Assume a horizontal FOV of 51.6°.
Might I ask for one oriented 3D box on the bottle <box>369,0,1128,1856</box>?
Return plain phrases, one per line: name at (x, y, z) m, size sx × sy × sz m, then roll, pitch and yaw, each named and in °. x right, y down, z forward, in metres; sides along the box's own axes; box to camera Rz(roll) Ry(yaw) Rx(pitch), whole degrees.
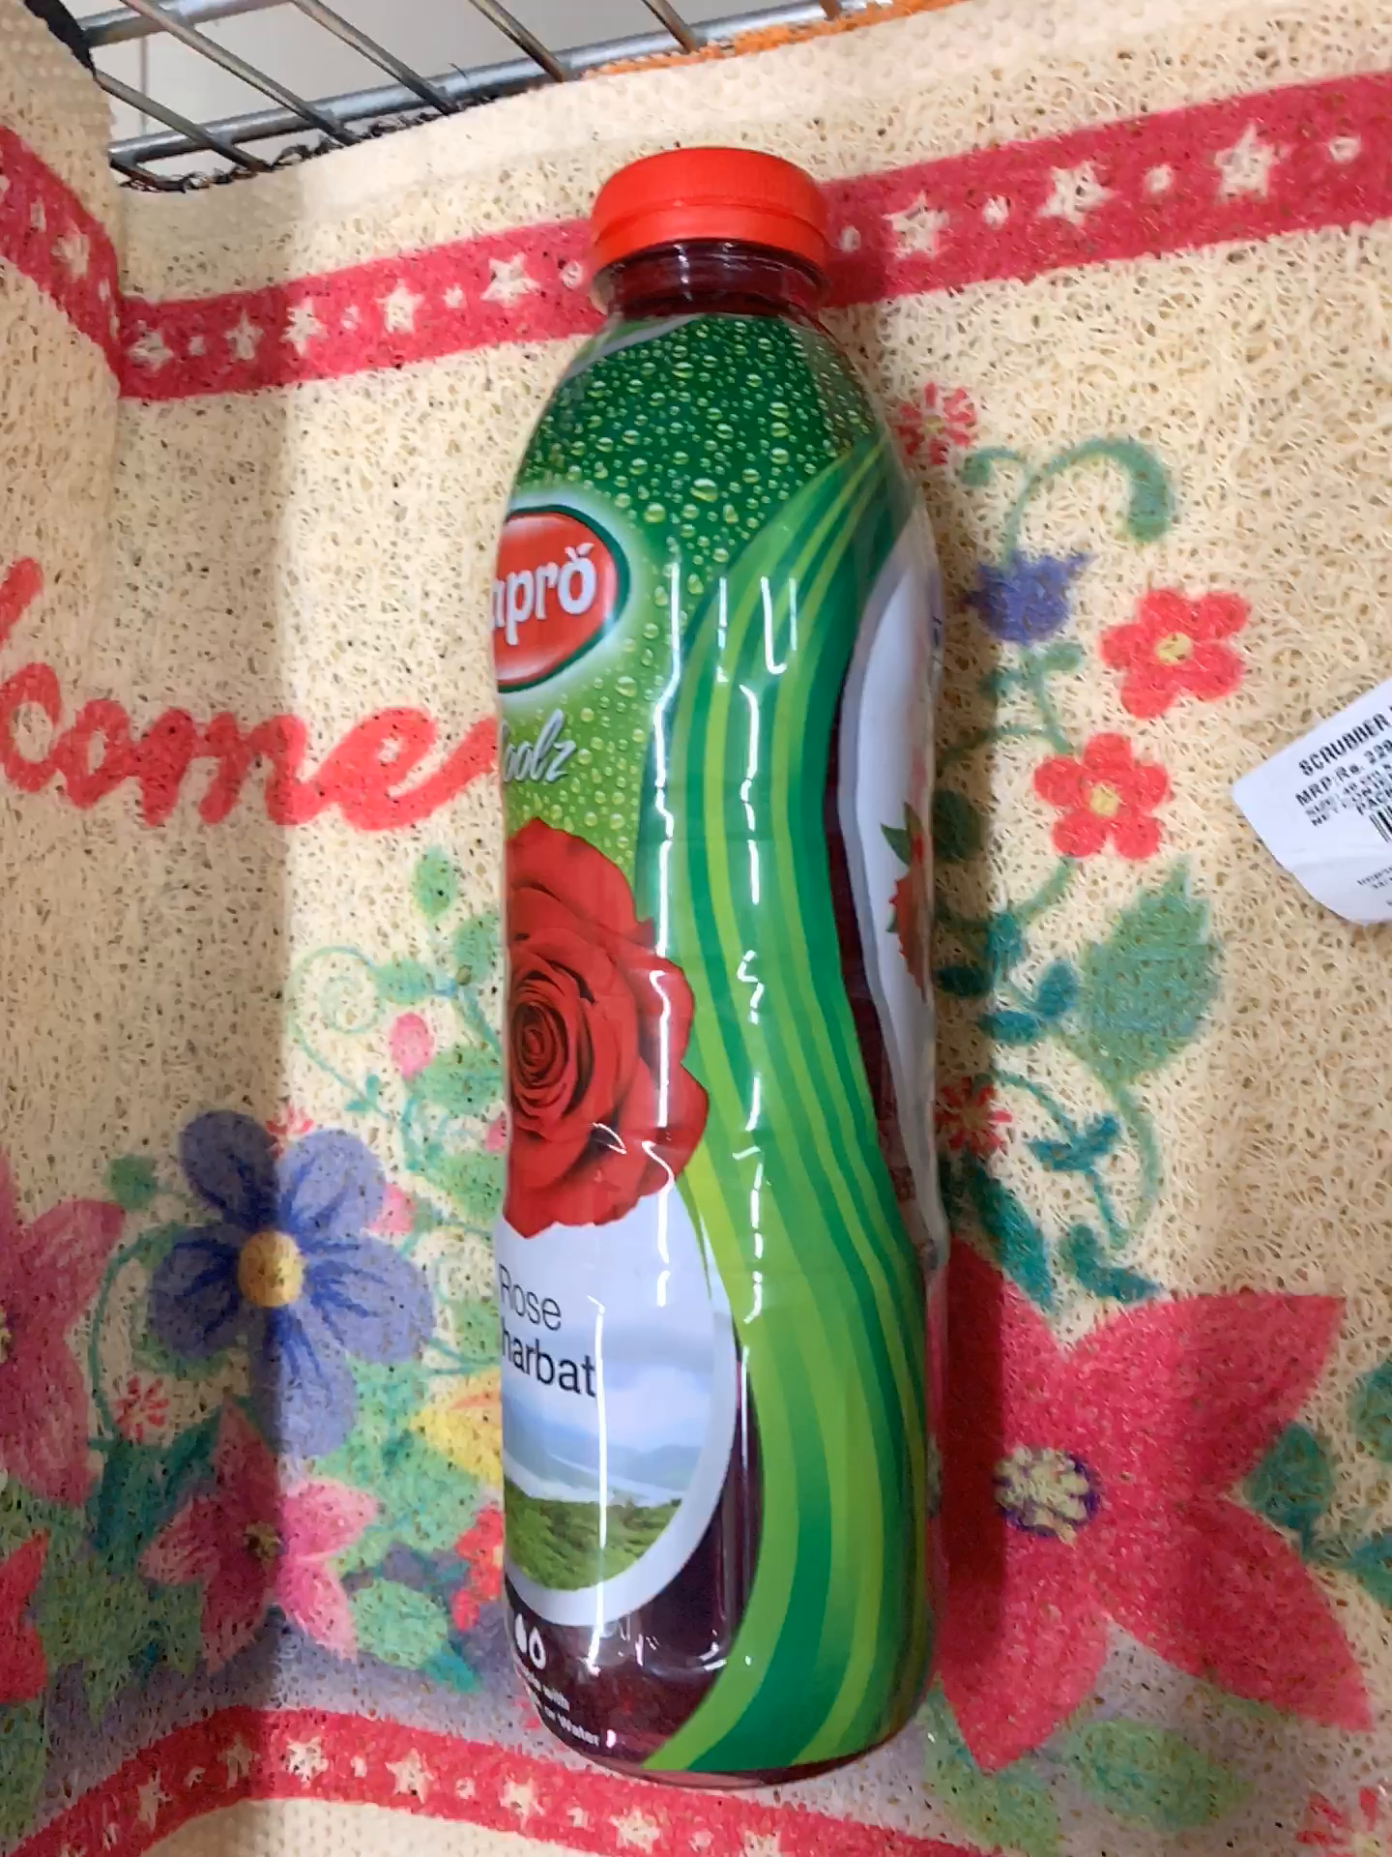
bottle at (0.010, -0.004, 0.227) m, size 0.080 × 0.080 × 0.250 m, roll 4°, pitch 97°, yaw 49°
